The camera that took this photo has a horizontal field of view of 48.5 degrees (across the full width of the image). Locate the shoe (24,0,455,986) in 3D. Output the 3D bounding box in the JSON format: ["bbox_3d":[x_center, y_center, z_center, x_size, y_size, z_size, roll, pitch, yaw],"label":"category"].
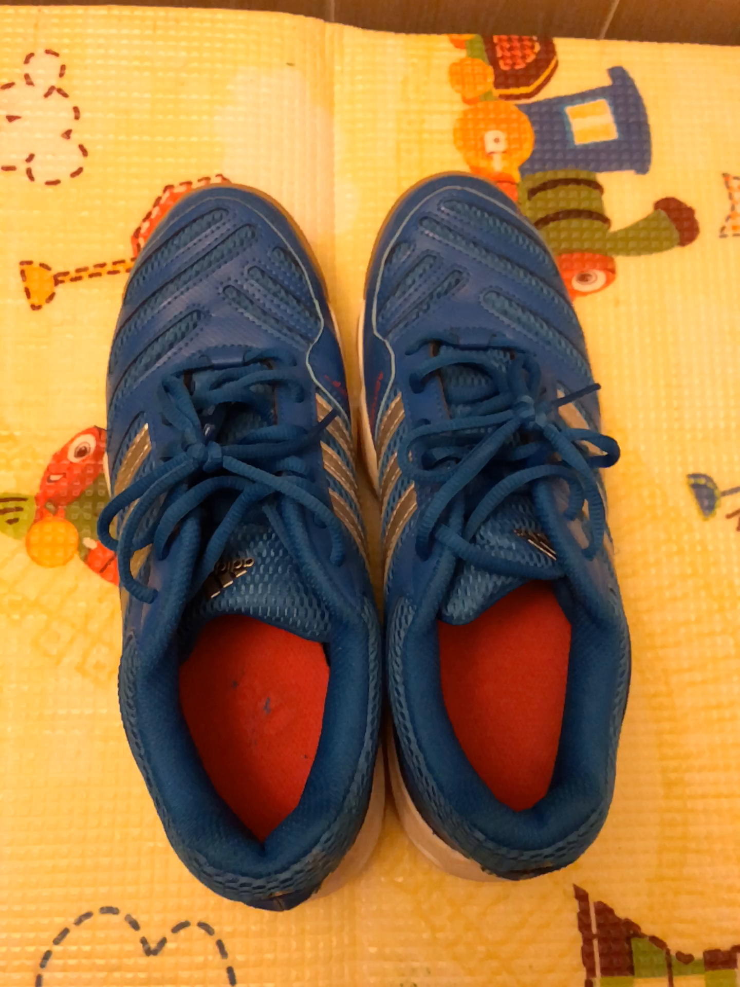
[{"bbox_3d":[-0.045,-0.003,0.307,0.110,0.140,0.290,-4,79,-3],"label":"shoe"}]

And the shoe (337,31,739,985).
[{"bbox_3d":[0.050,-0.002,0.309,0.110,0.120,0.290,-3,79,-3],"label":"shoe"}]
